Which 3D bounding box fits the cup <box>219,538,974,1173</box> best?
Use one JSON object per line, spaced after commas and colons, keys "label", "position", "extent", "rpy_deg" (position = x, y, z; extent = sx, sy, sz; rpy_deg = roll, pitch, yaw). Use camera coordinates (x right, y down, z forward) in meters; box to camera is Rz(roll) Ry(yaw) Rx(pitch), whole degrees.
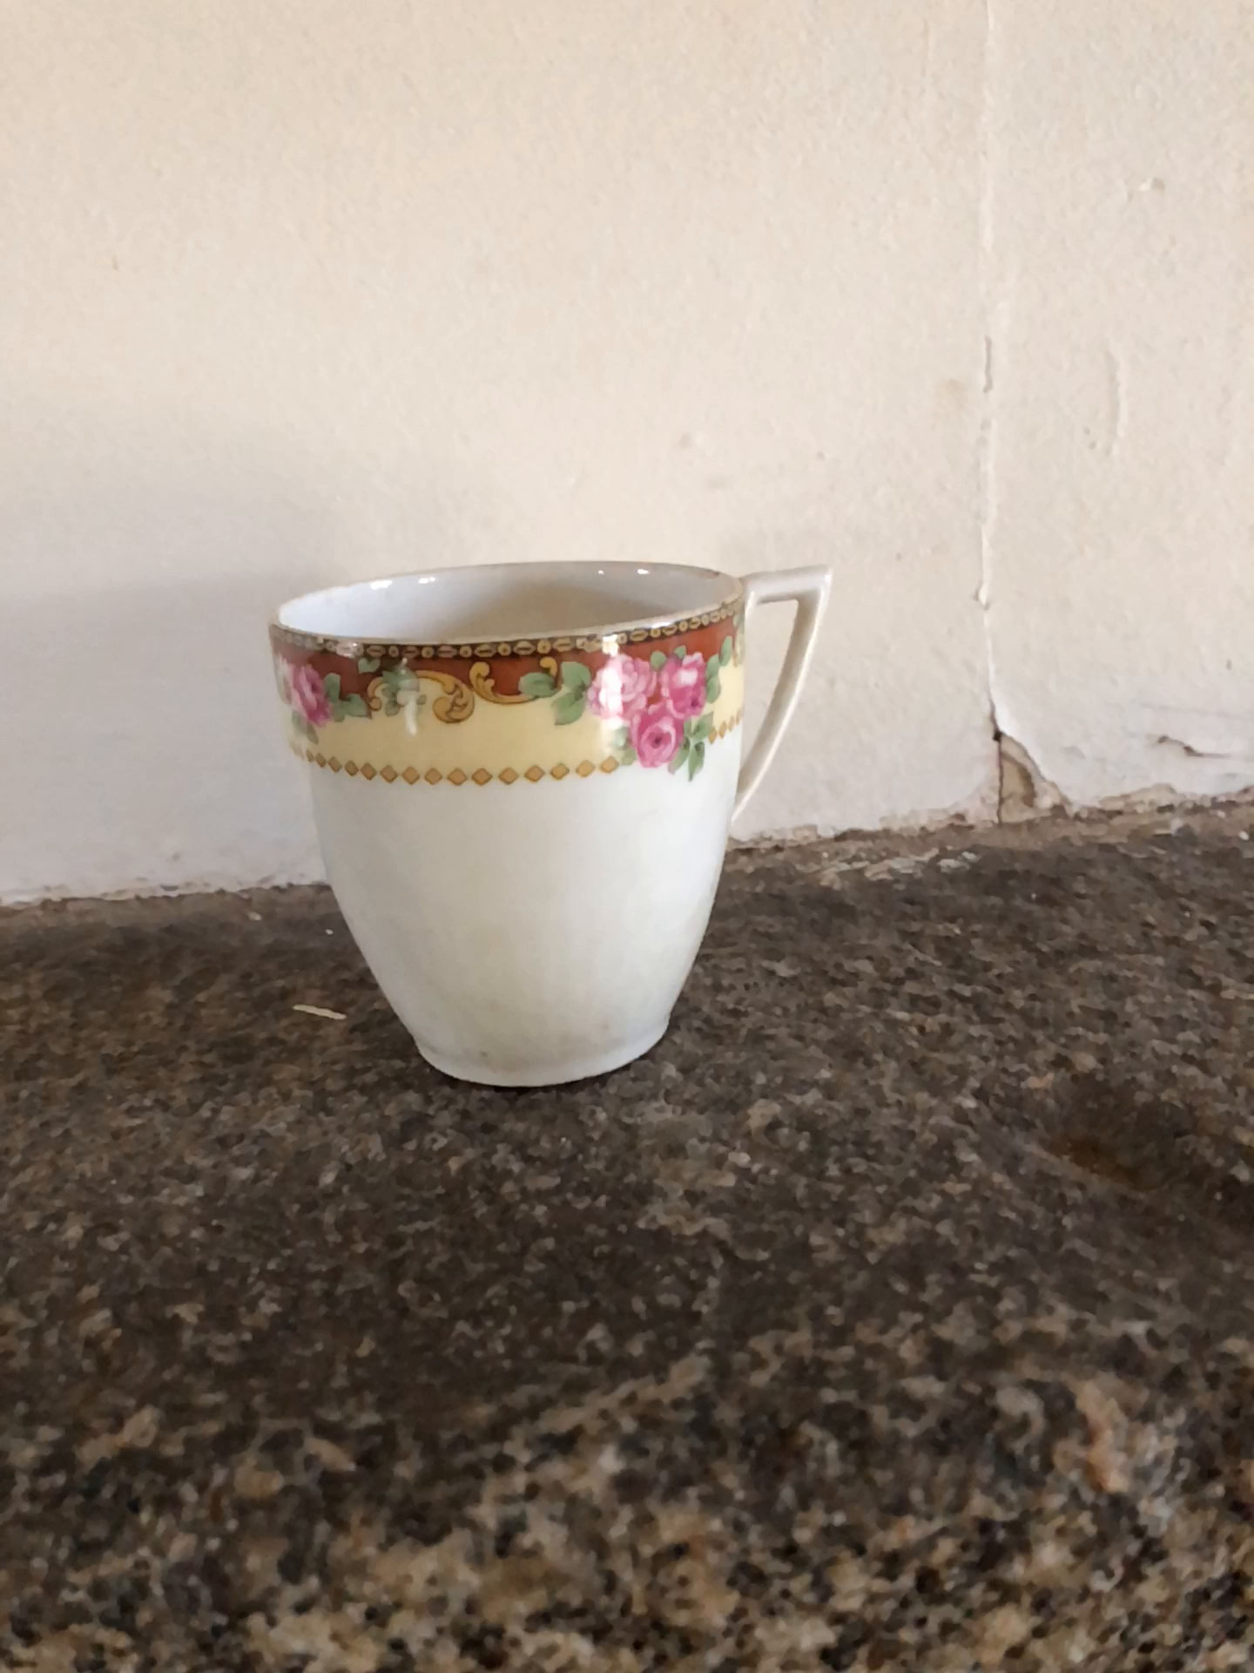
{"label": "cup", "position": [-0.007, -0.005, 0.209], "extent": [0.090, 0.060, 0.070], "rpy_deg": [-11, 21, -17]}
